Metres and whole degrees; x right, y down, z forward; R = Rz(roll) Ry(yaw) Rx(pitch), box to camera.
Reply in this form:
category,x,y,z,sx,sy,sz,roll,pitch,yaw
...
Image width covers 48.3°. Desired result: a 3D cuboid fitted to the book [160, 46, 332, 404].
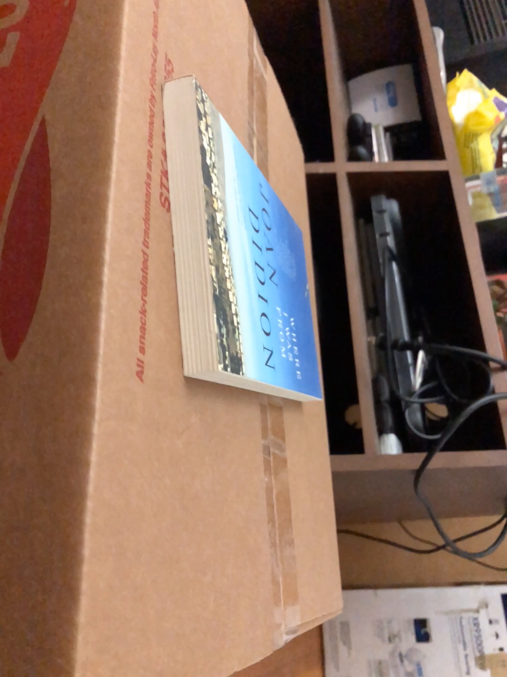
category,x,y,z,sx,sy,sz,roll,pitch,yaw
book,0.008,-0.038,0.328,0.211,0.020,0.140,27,55,-70
